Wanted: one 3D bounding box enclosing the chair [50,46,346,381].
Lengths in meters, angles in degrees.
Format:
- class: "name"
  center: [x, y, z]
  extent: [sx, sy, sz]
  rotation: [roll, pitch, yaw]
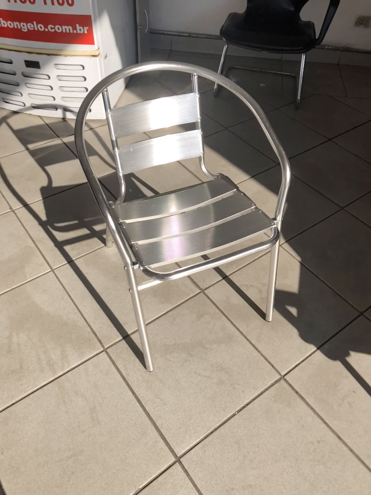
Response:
- class: "chair"
  center: [-0.021, -0.119, 1.281]
  extent: [0.521, 0.705, 0.634]
  rotation: [-18, 49, -19]
